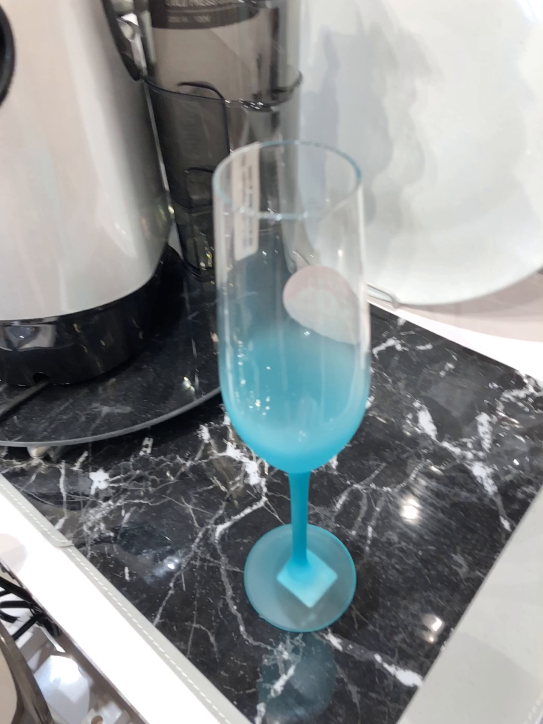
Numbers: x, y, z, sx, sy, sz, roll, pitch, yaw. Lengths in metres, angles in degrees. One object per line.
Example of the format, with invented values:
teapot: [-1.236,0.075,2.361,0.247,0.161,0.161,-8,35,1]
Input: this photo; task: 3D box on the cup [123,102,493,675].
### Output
cup: [0.010,0.036,0.242,0.070,0.239,0.070,-1,46,1]
